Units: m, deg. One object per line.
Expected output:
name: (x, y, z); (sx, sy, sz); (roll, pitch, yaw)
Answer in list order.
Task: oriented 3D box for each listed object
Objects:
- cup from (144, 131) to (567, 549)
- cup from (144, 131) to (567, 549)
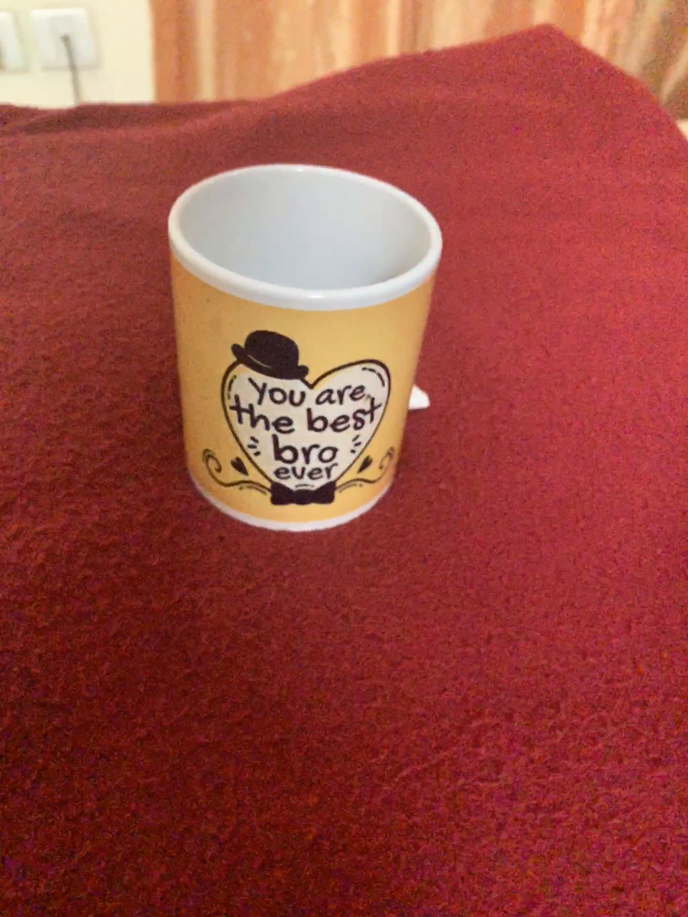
cup: (-0.005, -0.042, 0.250); (0.110, 0.109, 0.081); (-6, 41, -12)
cup: (-0.005, -0.042, 0.250); (0.110, 0.109, 0.081); (-6, 41, -12)
